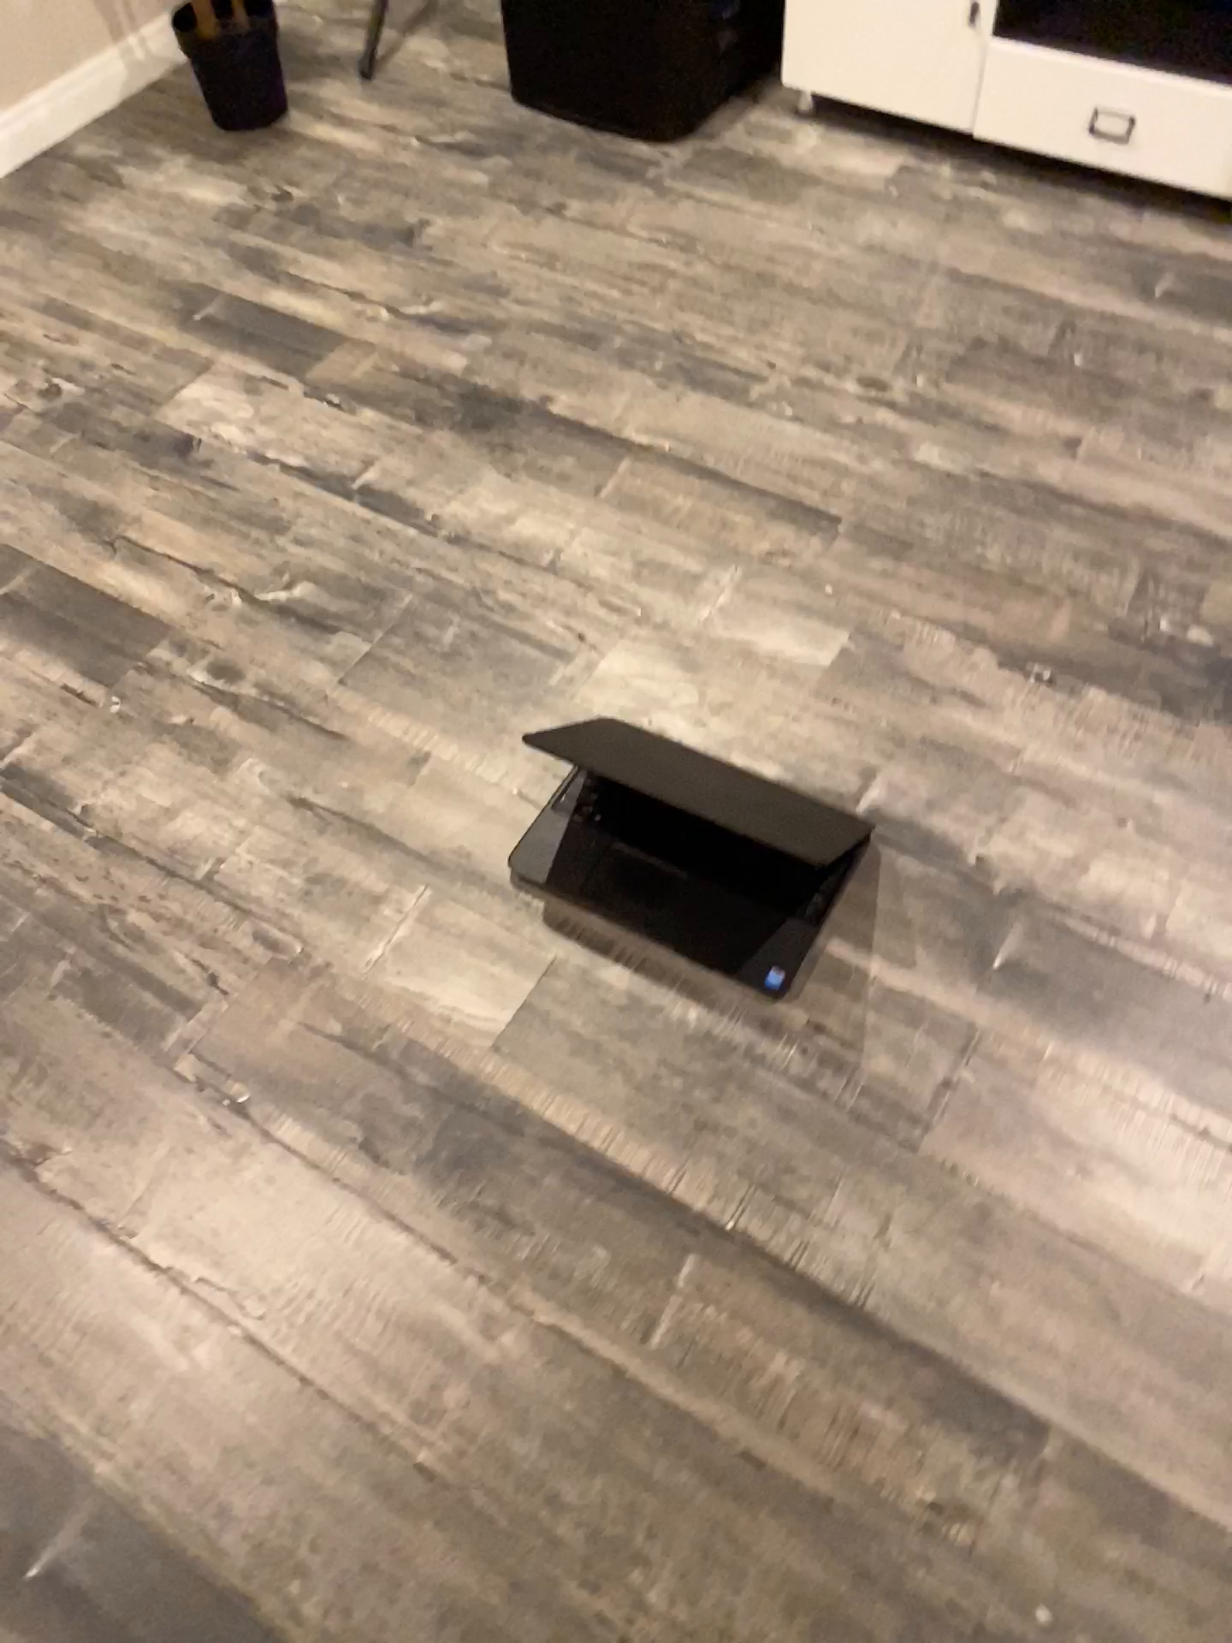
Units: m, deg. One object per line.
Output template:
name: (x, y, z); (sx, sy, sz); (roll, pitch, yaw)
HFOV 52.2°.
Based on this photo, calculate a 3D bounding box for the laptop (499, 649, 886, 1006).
laptop: (0.086, 0.000, 1.409); (0.353, 0.170, 0.231); (24, 58, 18)
